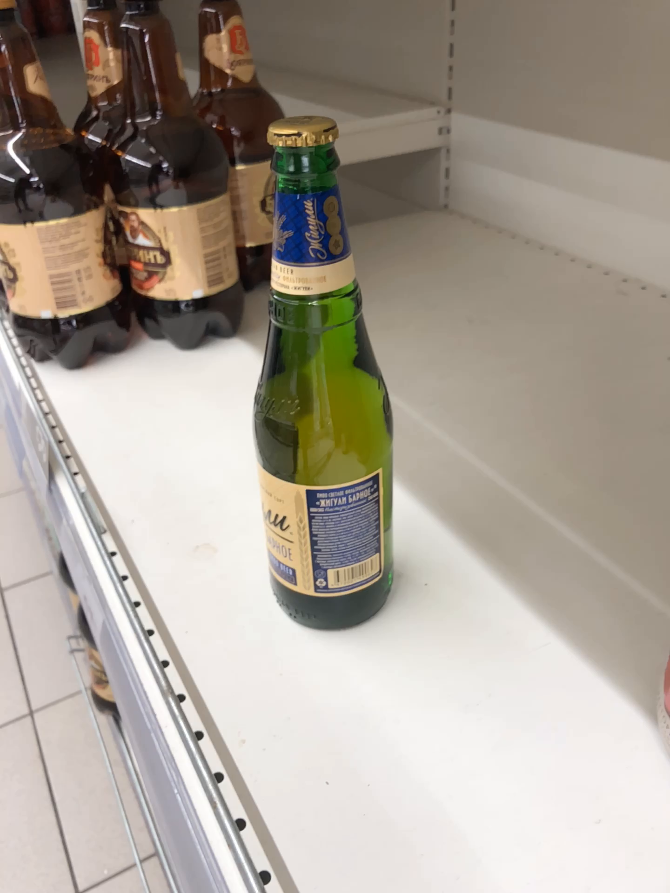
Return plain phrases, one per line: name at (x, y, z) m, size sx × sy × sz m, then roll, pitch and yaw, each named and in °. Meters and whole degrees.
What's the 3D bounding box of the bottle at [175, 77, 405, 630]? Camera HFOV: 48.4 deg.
bottle at (-0.015, -0.035, 0.365) m, size 0.080 × 0.249 × 0.091 m, roll -6°, pitch 34°, yaw -5°
